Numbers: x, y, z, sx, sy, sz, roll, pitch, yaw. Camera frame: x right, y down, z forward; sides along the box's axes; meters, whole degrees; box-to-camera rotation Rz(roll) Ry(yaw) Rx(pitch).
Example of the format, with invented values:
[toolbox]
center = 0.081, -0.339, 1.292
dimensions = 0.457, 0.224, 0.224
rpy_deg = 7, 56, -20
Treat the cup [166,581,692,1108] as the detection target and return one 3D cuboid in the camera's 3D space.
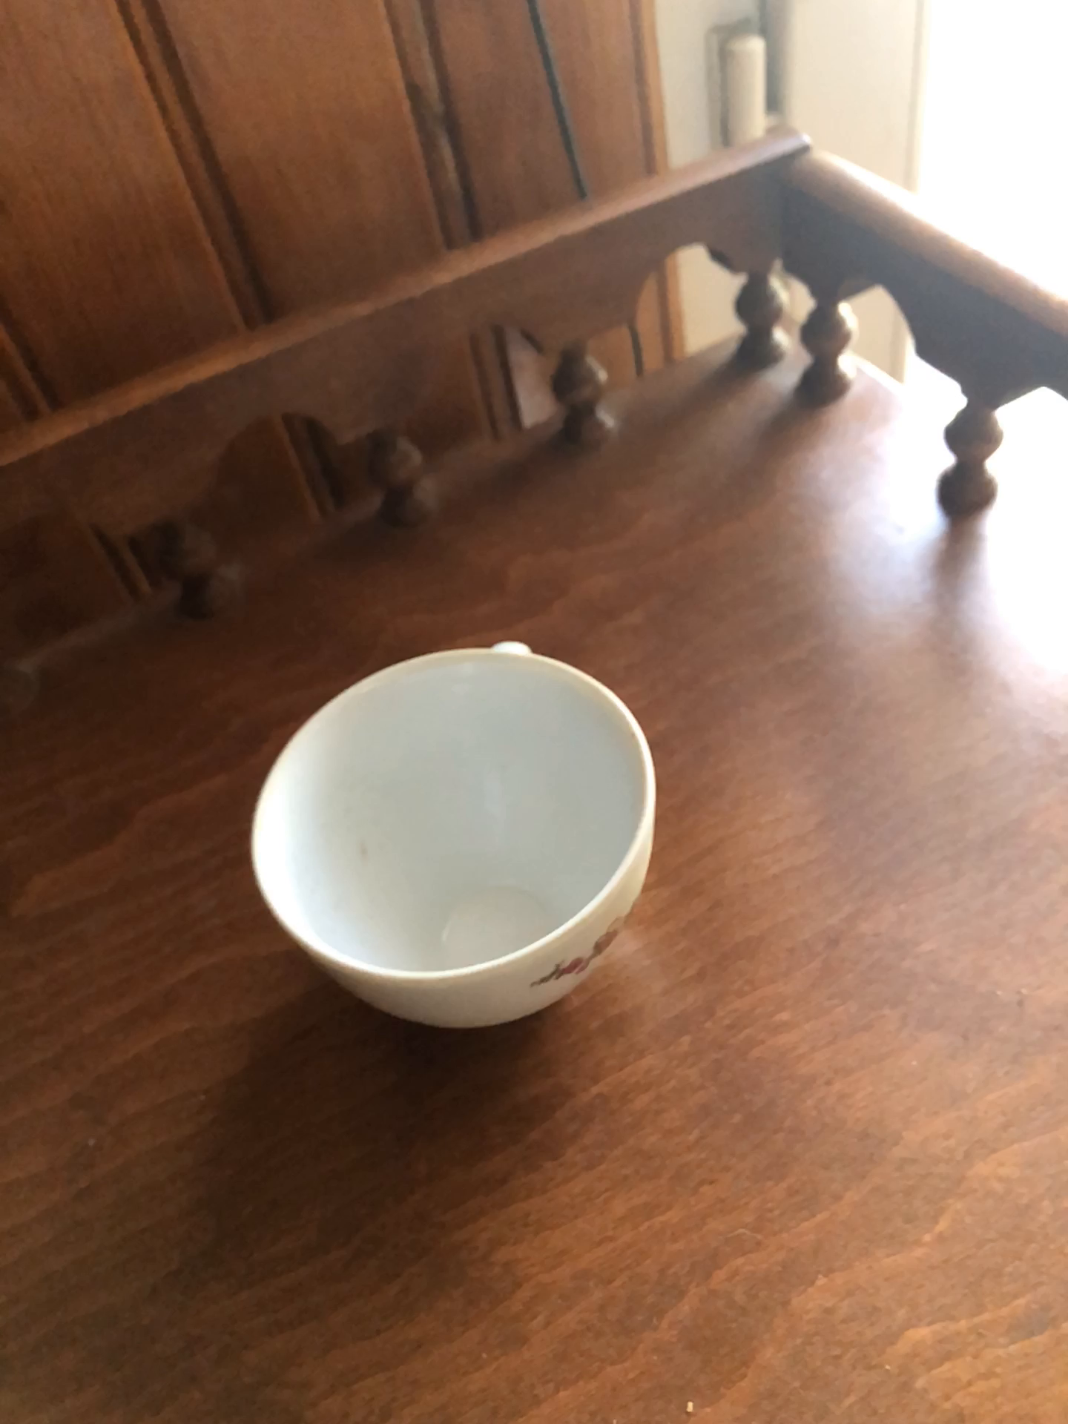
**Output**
[cup]
center = -0.013, 0.023, 0.244
dimensions = 0.080, 0.050, 0.091
rpy_deg = 1, 50, 13
